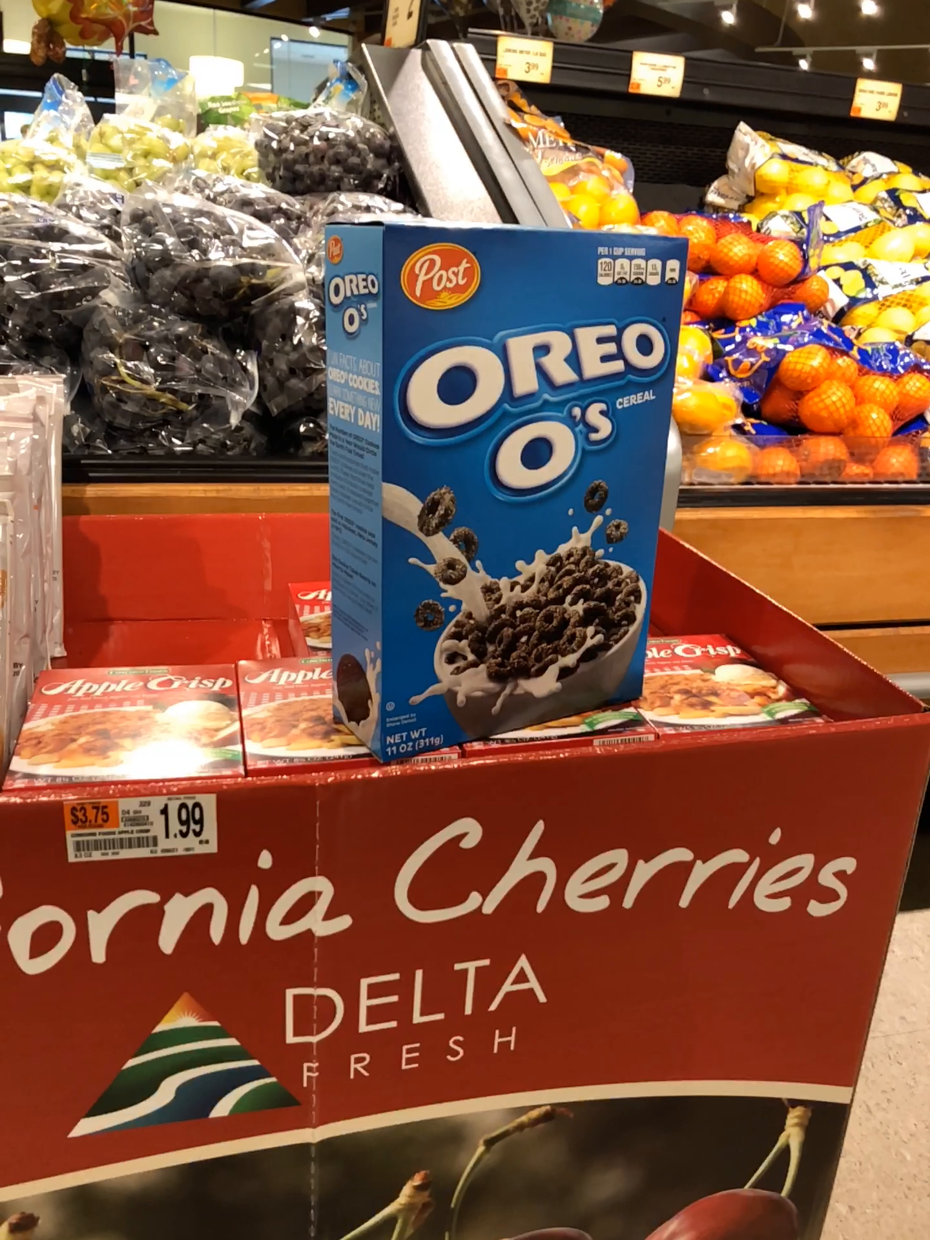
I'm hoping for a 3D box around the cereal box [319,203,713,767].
[{"bbox_3d":[0.027,-0.081,0.575,0.201,0.278,0.070,-11,24,-31],"label":"cereal box"}]
